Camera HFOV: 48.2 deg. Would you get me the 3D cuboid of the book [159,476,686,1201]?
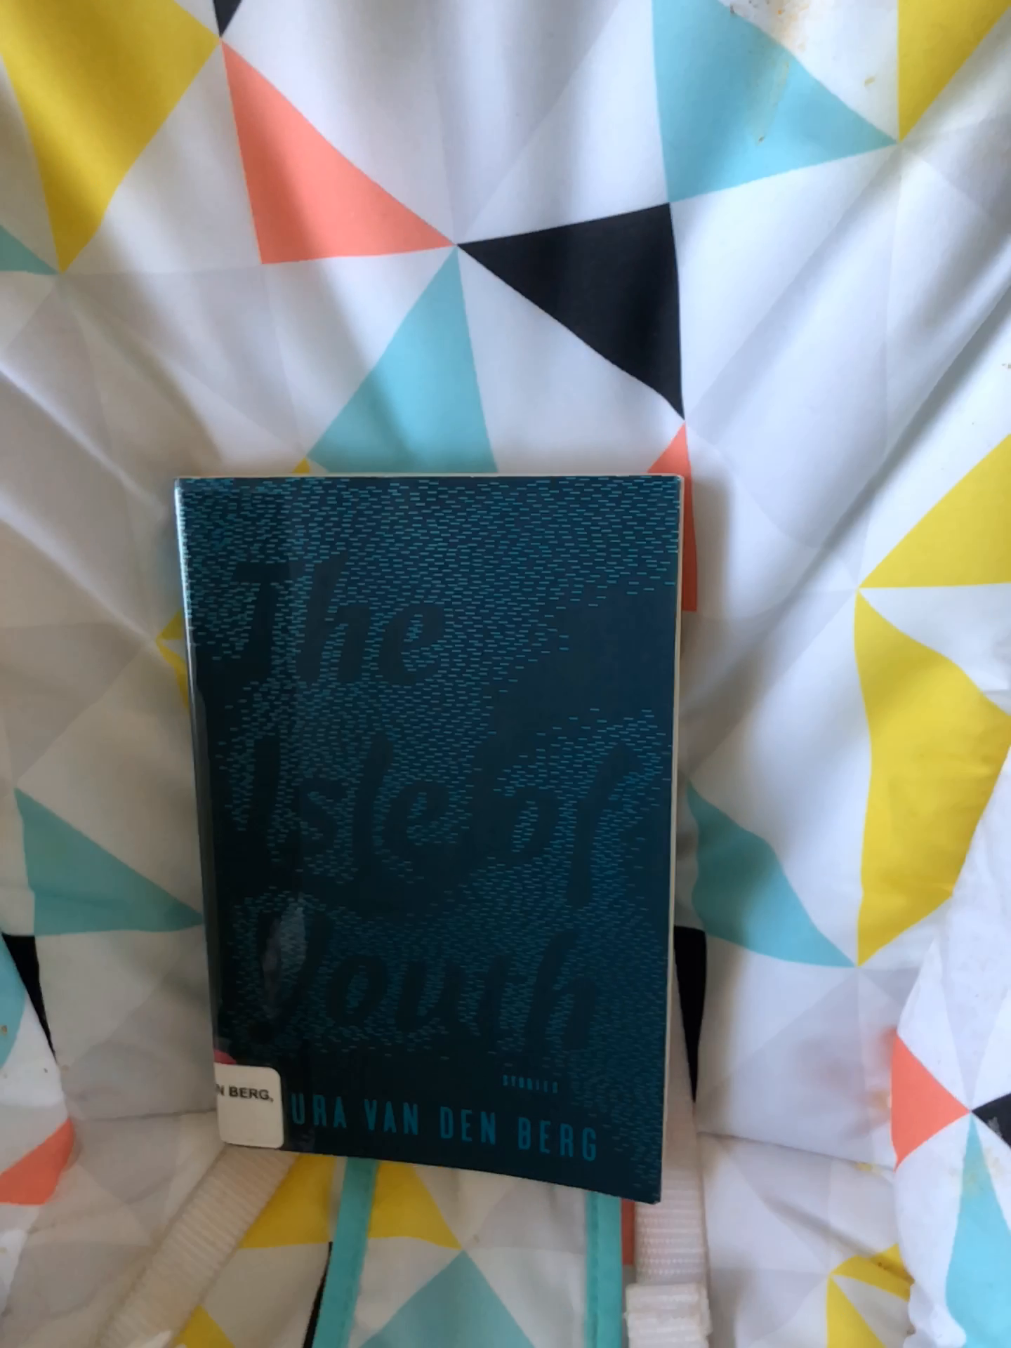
[{"bbox_3d":[-0.018,0.041,0.295,0.124,0.032,0.180,2,103,12],"label":"book"}]
